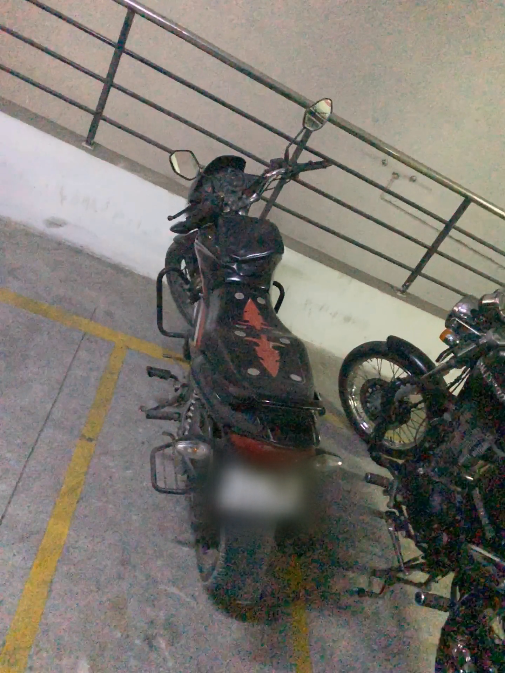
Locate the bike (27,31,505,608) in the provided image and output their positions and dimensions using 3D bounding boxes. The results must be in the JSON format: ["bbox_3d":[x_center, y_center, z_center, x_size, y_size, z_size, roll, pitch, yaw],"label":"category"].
[{"bbox_3d":[-0.203,-0.197,1.850,0.756,1.067,1.682,16,32,-27],"label":"bike"}]
